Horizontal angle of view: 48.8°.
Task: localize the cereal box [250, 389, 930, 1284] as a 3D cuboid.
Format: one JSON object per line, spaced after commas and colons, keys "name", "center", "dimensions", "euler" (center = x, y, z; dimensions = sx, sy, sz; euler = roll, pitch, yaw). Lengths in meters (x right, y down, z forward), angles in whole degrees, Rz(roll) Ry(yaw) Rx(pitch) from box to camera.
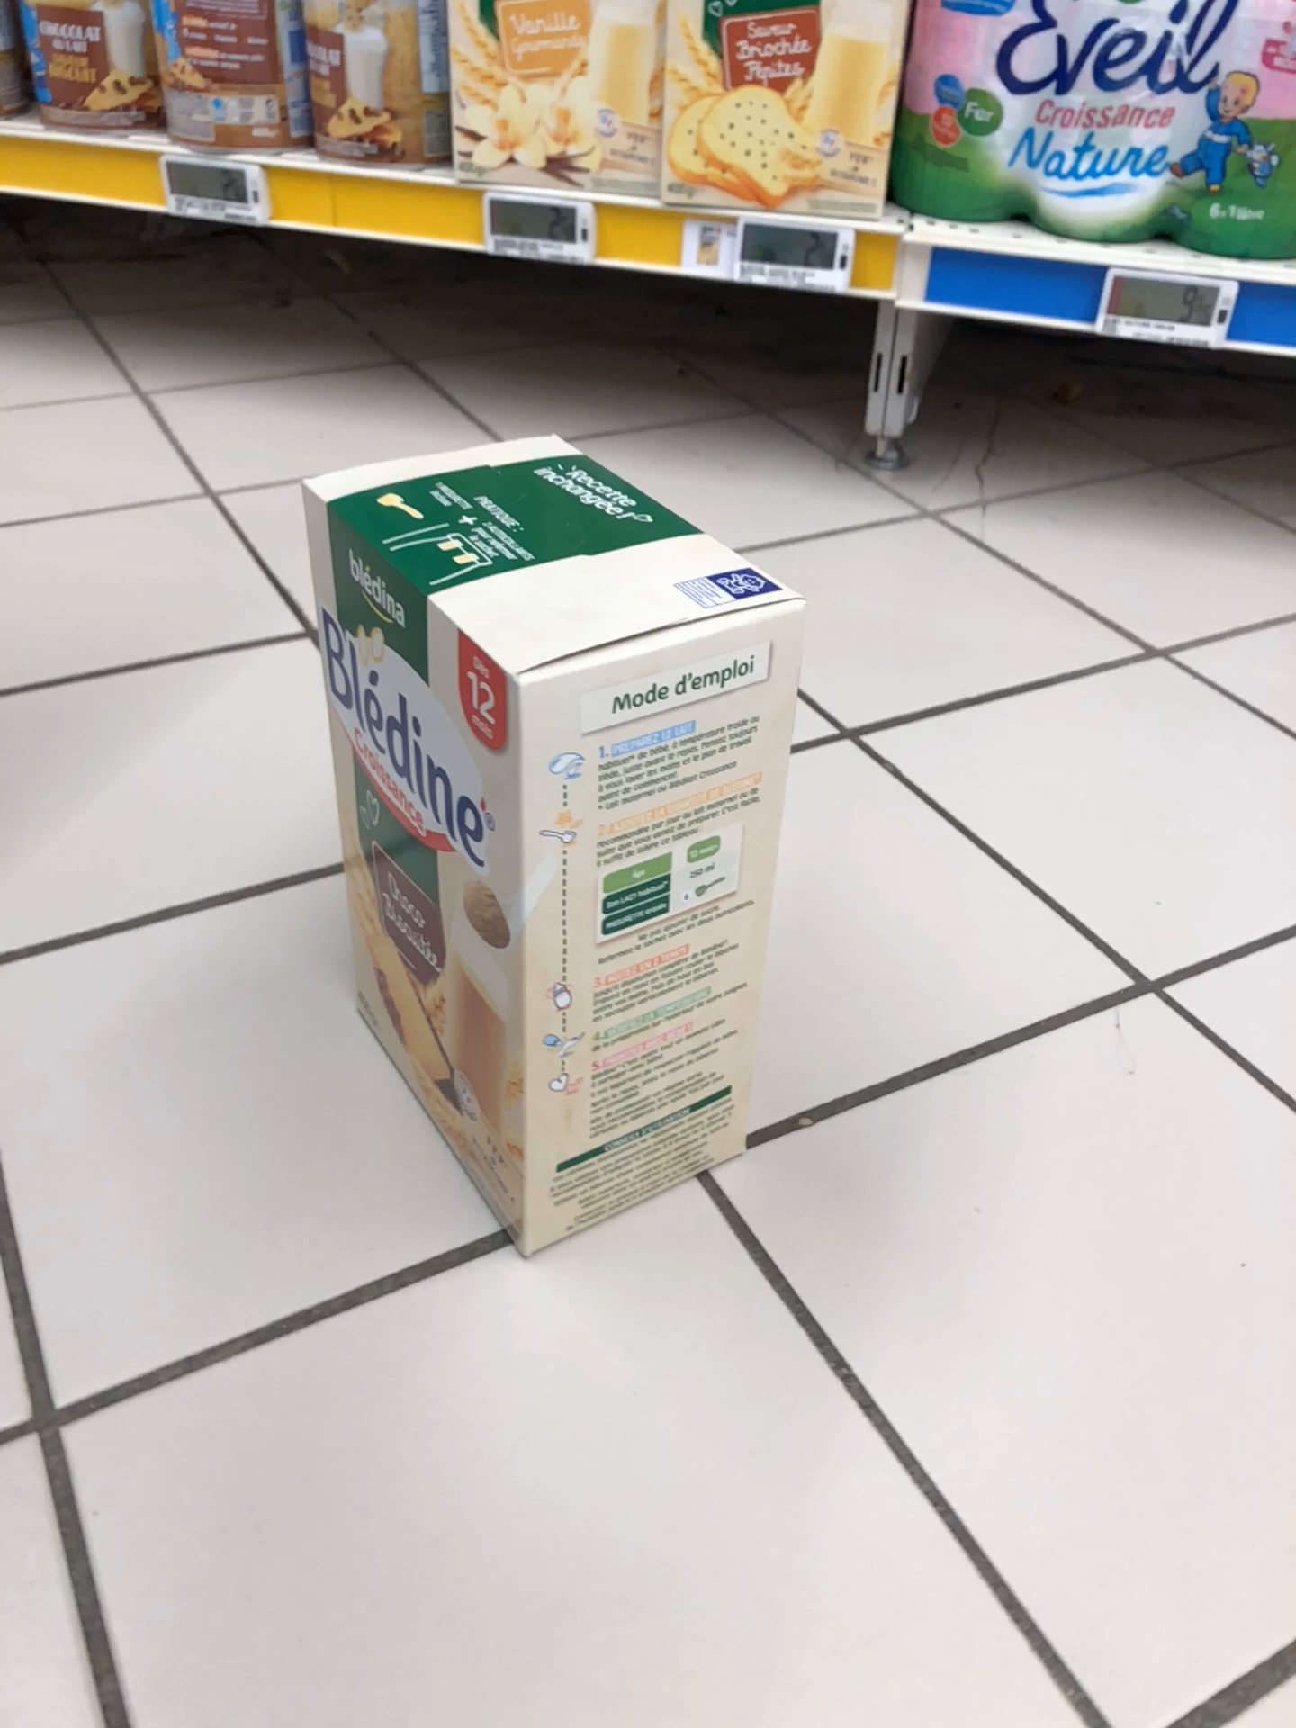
{"name": "cereal box", "center": [-0.025, -0.015, 0.434], "dimensions": [0.120, 0.199, 0.150], "euler": [-18, 40, -28]}
